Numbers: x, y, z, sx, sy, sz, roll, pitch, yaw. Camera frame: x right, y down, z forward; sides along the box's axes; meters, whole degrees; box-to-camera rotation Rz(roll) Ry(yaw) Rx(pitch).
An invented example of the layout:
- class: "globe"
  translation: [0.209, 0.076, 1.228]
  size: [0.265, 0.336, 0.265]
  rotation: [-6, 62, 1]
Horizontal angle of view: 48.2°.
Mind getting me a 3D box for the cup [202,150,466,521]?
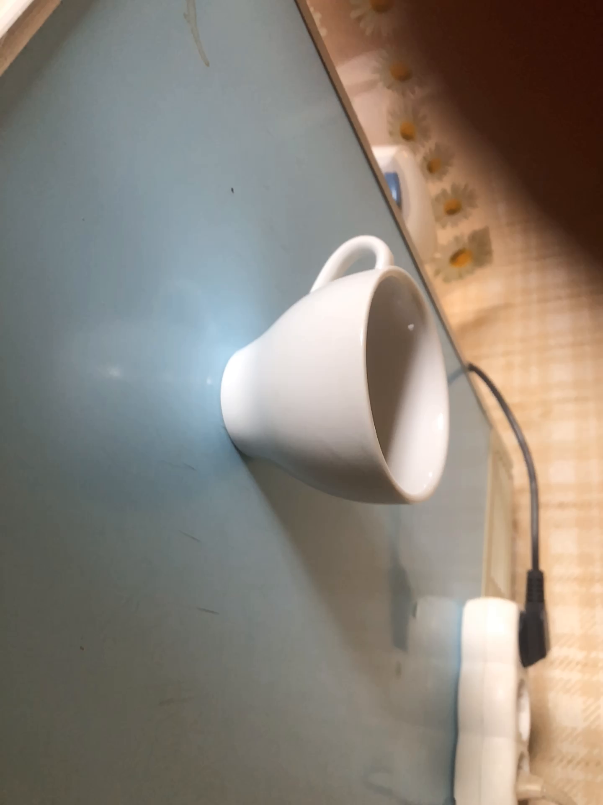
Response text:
- class: "cup"
  translation: [0.019, -0.015, 0.256]
  size: [0.097, 0.057, 0.106]
  rotation: [21, 66, -59]
